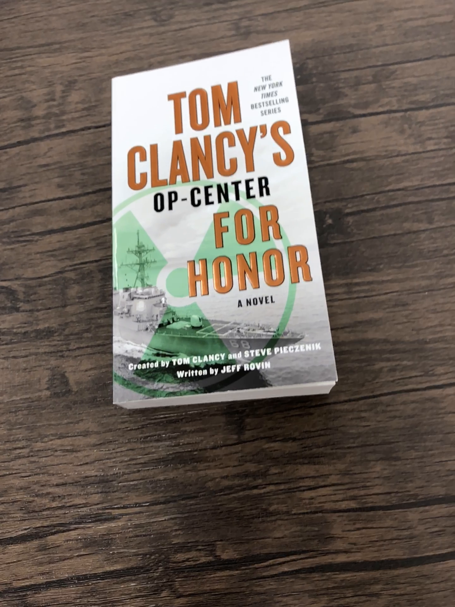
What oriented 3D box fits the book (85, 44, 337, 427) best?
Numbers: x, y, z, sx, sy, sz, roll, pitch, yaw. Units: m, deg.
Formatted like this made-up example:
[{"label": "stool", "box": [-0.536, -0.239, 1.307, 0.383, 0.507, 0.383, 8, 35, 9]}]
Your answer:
[{"label": "book", "box": [-0.013, -0.038, 0.273, 0.113, 0.040, 0.190, -7, 72, 8]}]
